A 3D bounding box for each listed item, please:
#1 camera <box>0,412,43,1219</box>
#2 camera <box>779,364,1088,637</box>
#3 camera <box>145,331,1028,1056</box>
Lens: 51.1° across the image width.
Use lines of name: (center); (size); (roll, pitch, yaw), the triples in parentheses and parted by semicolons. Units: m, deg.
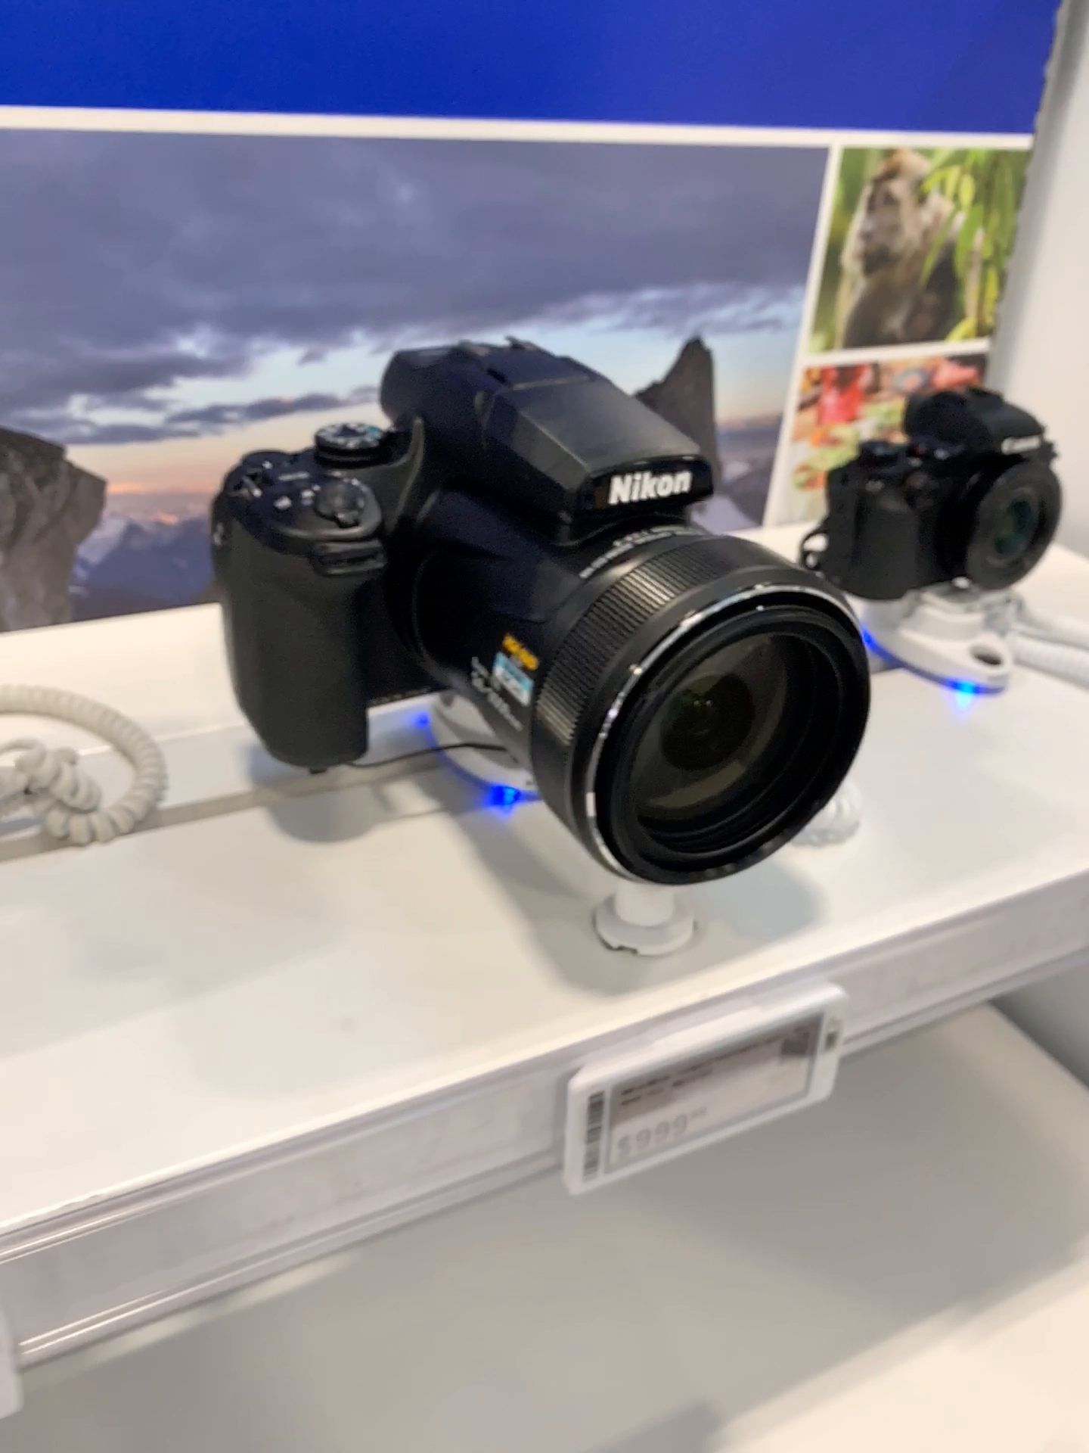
camera: (-0.224, -0.002, 0.277); (0.160, 0.099, 0.151); (-12, 32, -24)
camera: (0.175, -0.103, 0.503); (0.120, 0.089, 0.060); (-15, 33, -28)
camera: (-0.010, -0.040, 0.346); (0.160, 0.109, 0.221); (-13, 32, -25)
